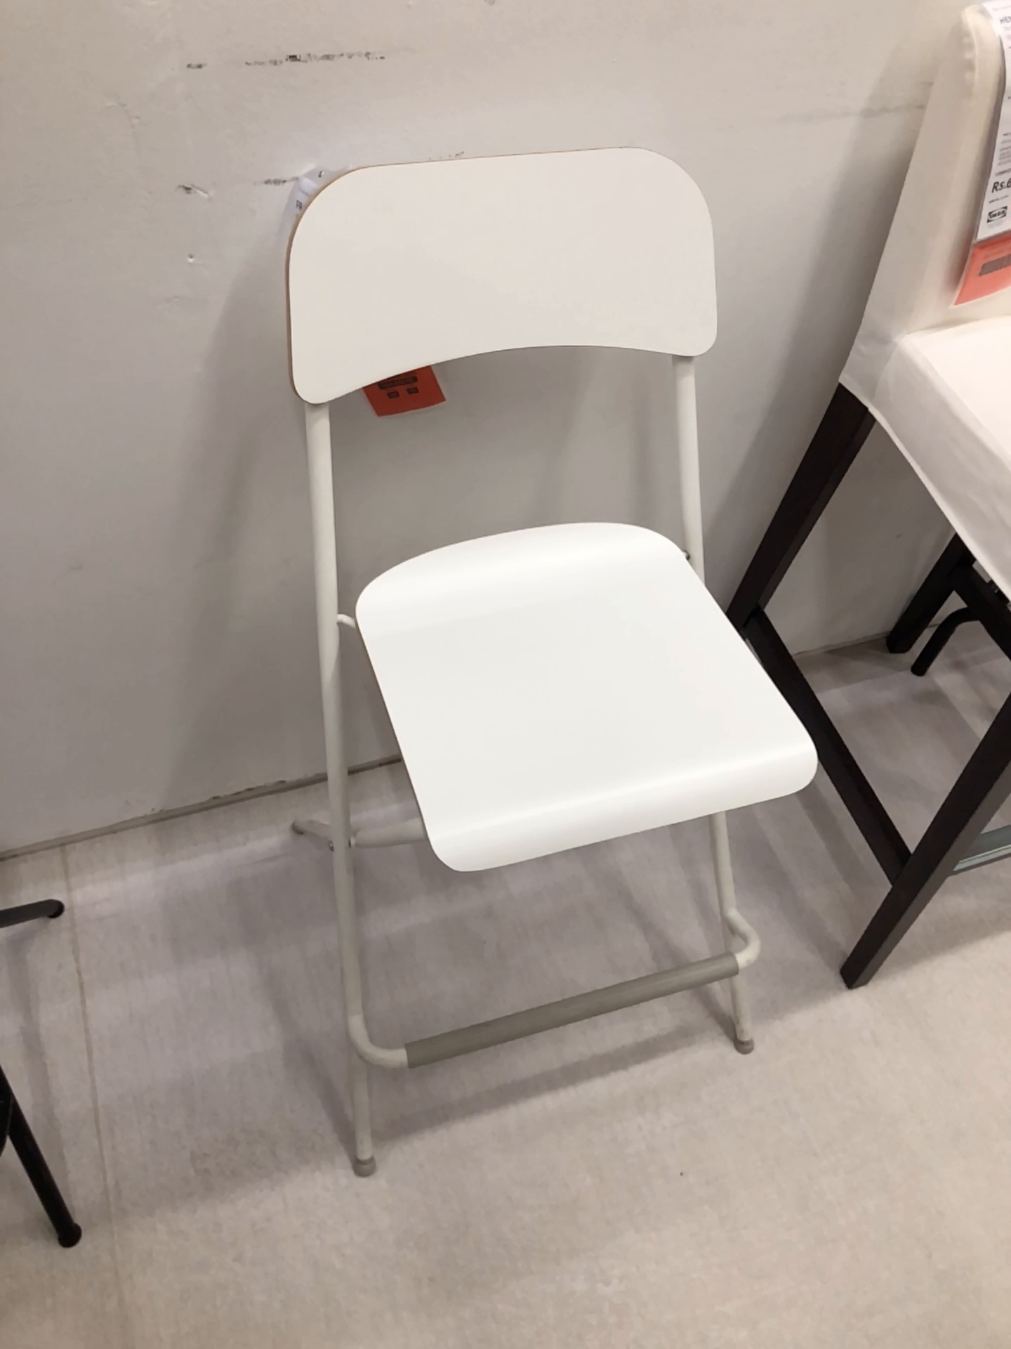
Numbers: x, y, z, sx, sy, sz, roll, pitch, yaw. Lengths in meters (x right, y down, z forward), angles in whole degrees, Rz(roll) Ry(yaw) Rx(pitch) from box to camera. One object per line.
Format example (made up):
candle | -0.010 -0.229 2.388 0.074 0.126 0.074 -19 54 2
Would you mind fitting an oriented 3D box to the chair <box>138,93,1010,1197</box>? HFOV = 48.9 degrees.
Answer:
chair | 0.041 0.039 1.055 0.530 0.895 0.482 -13 53 -15
